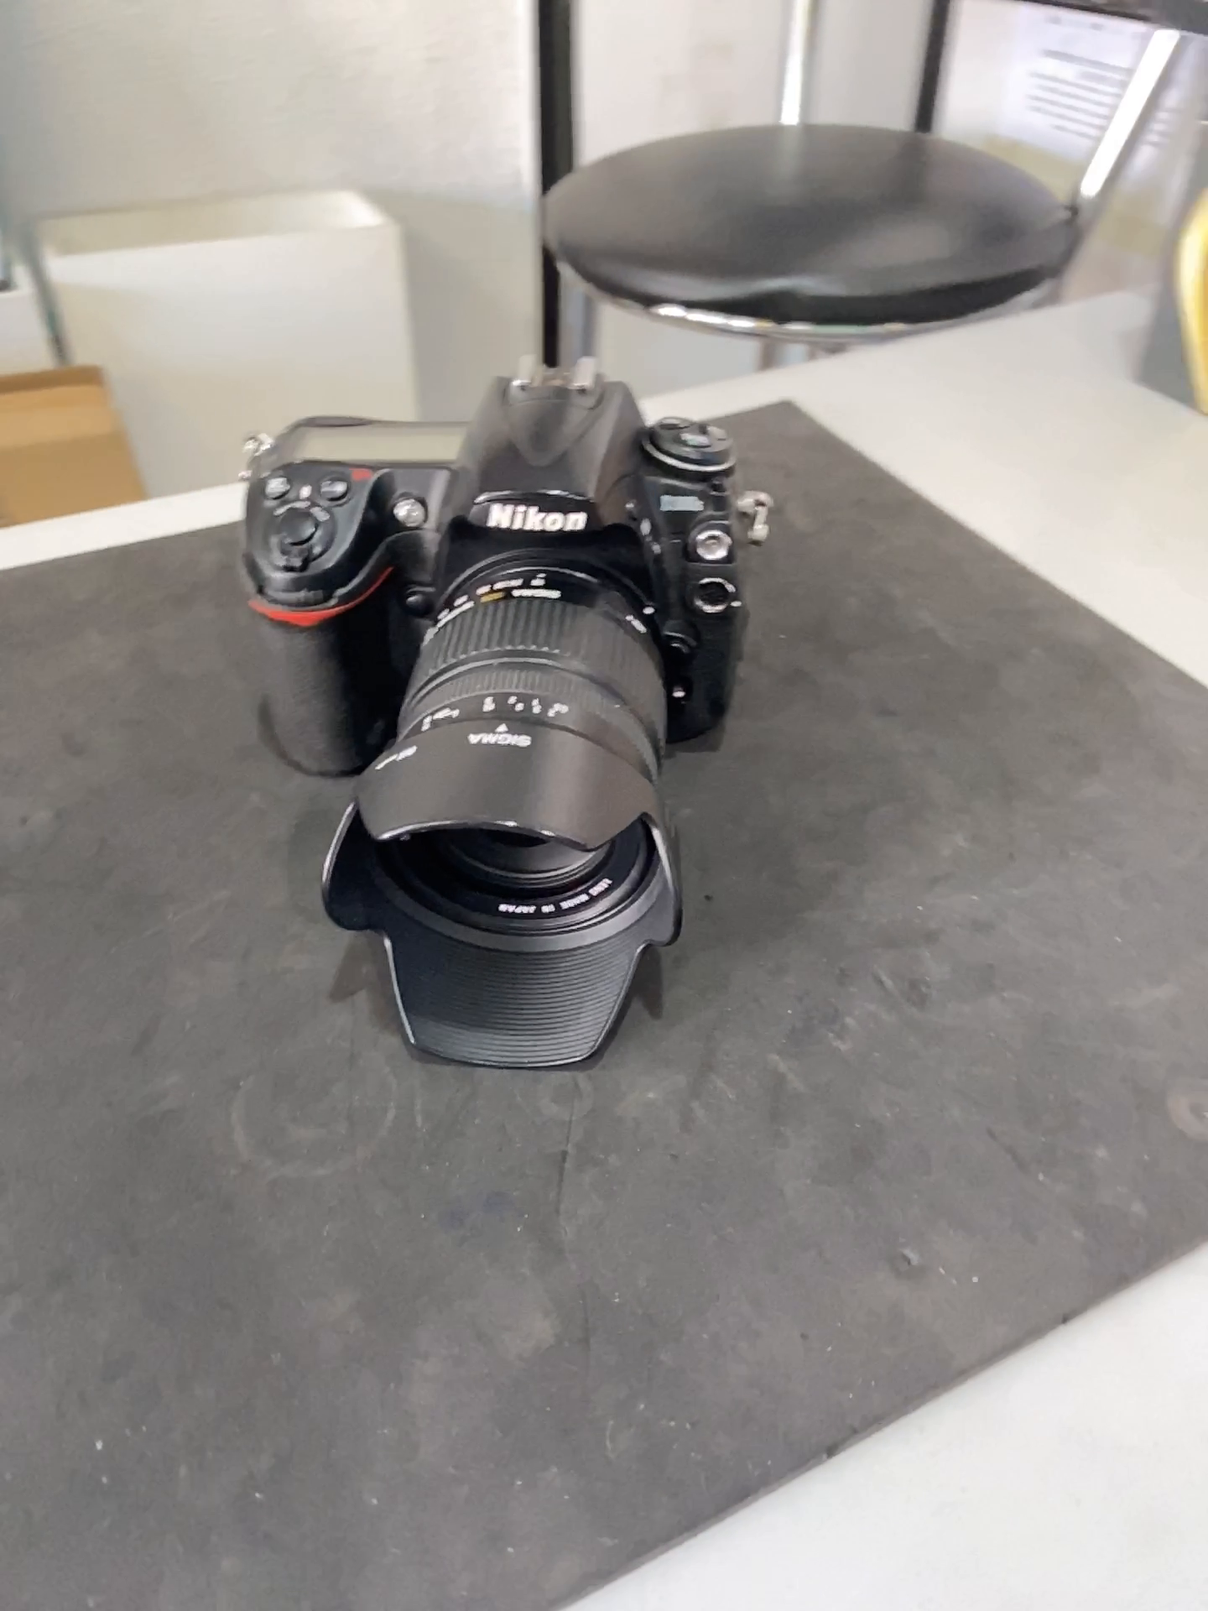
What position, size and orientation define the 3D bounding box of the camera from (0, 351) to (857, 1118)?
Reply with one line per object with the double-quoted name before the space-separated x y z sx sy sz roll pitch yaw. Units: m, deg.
"camera" -0.031 -0.031 0.332 0.170 0.109 0.181 3 41 5
